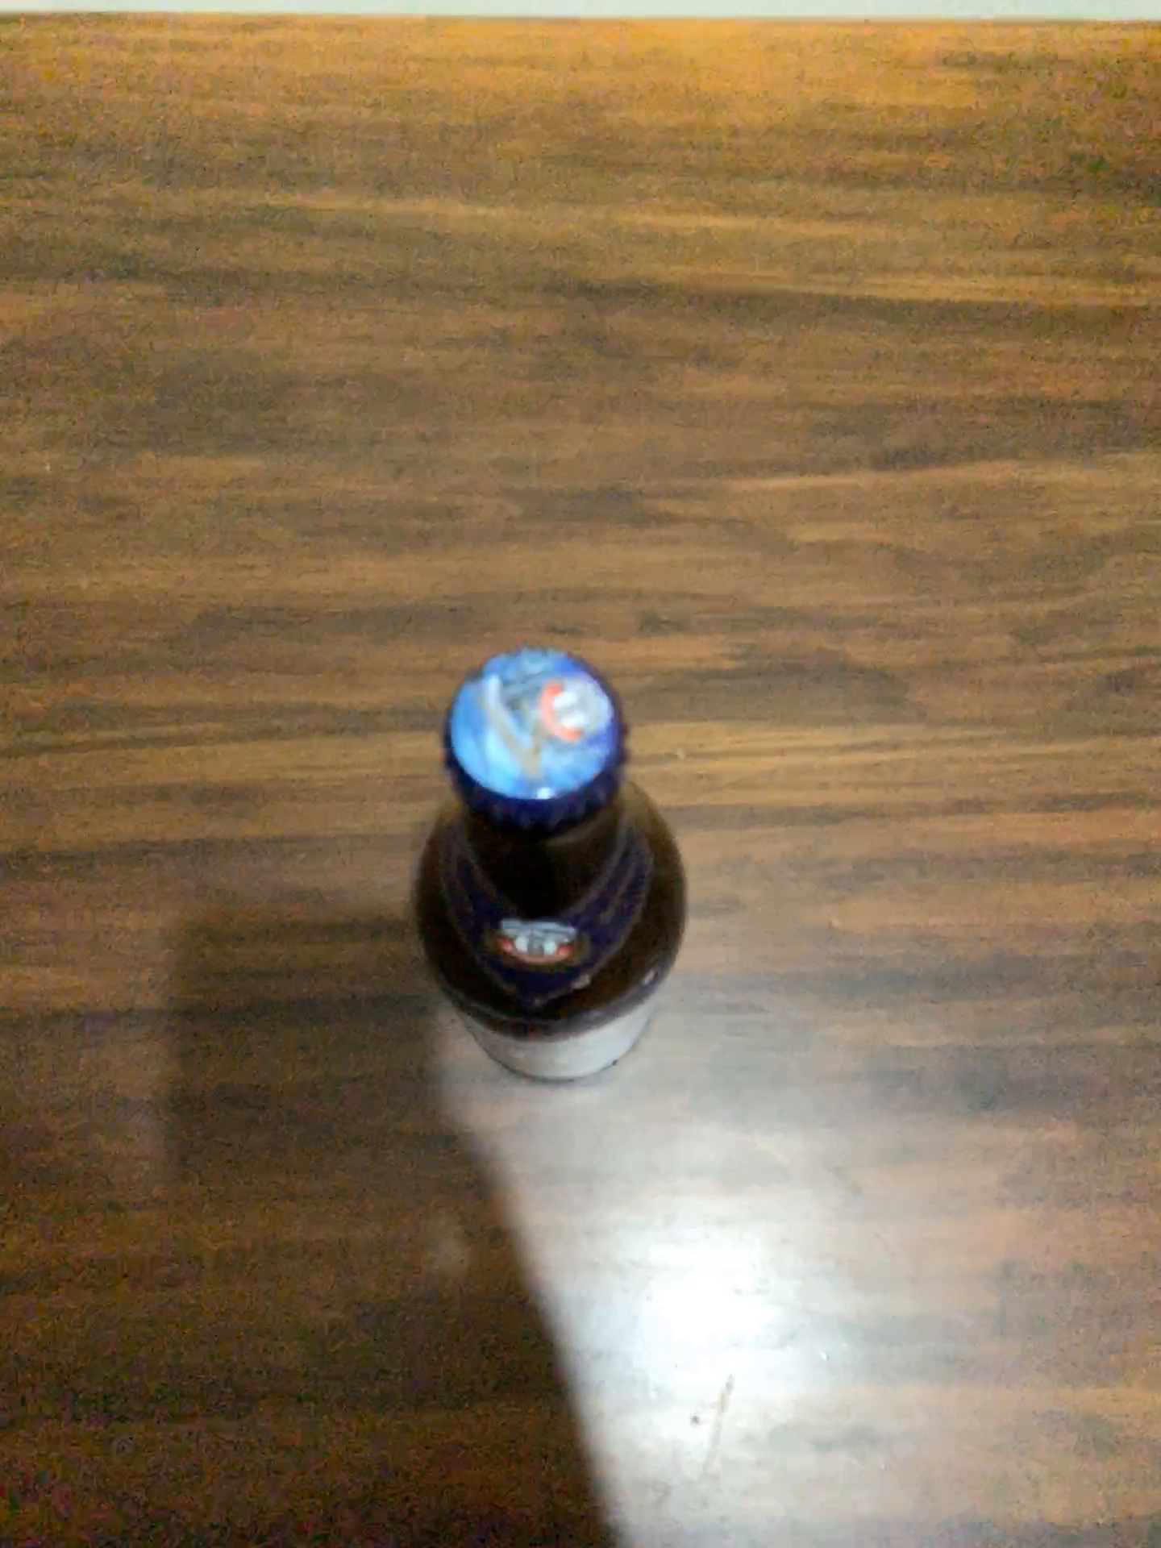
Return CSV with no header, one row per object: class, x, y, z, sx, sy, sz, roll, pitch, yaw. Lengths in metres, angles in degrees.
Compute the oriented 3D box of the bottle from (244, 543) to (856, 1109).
bottle,-0.004,0.038,0.285,0.080,0.250,0.070,1,72,0
